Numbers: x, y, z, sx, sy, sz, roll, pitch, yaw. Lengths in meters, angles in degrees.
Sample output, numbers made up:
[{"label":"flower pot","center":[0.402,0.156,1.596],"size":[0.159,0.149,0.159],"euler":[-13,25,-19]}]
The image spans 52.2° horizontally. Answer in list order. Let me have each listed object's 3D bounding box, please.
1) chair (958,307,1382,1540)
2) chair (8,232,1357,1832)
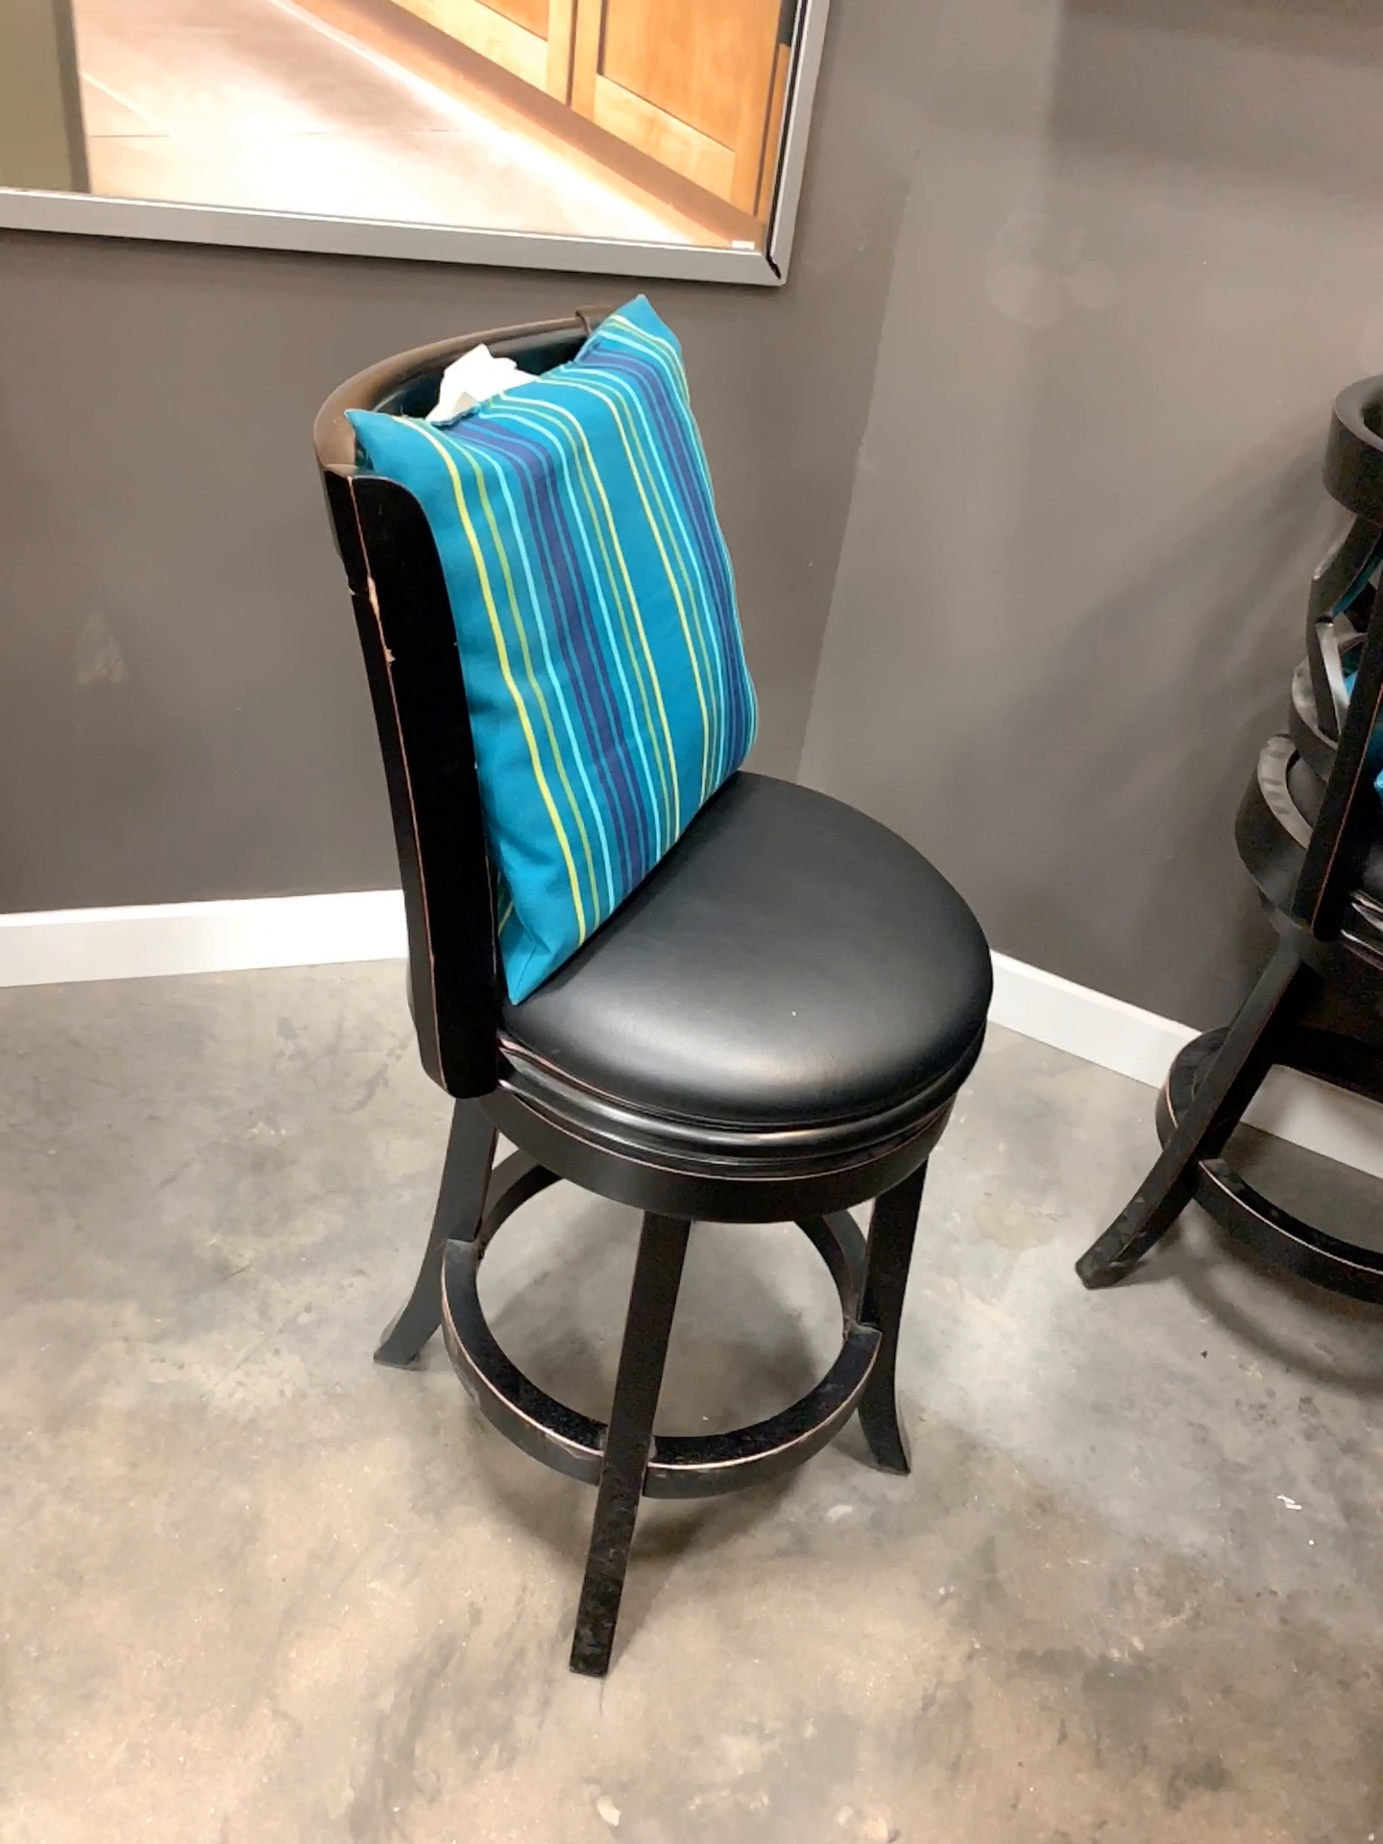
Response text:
[{"label":"chair","center":[0.738,-0.016,1.392],"size":[0.596,0.923,0.538],"euler":[23,37,19]},{"label":"chair","center":[-0.013,0.057,1.064],"size":[0.596,0.903,0.538],"euler":[23,37,19]}]
